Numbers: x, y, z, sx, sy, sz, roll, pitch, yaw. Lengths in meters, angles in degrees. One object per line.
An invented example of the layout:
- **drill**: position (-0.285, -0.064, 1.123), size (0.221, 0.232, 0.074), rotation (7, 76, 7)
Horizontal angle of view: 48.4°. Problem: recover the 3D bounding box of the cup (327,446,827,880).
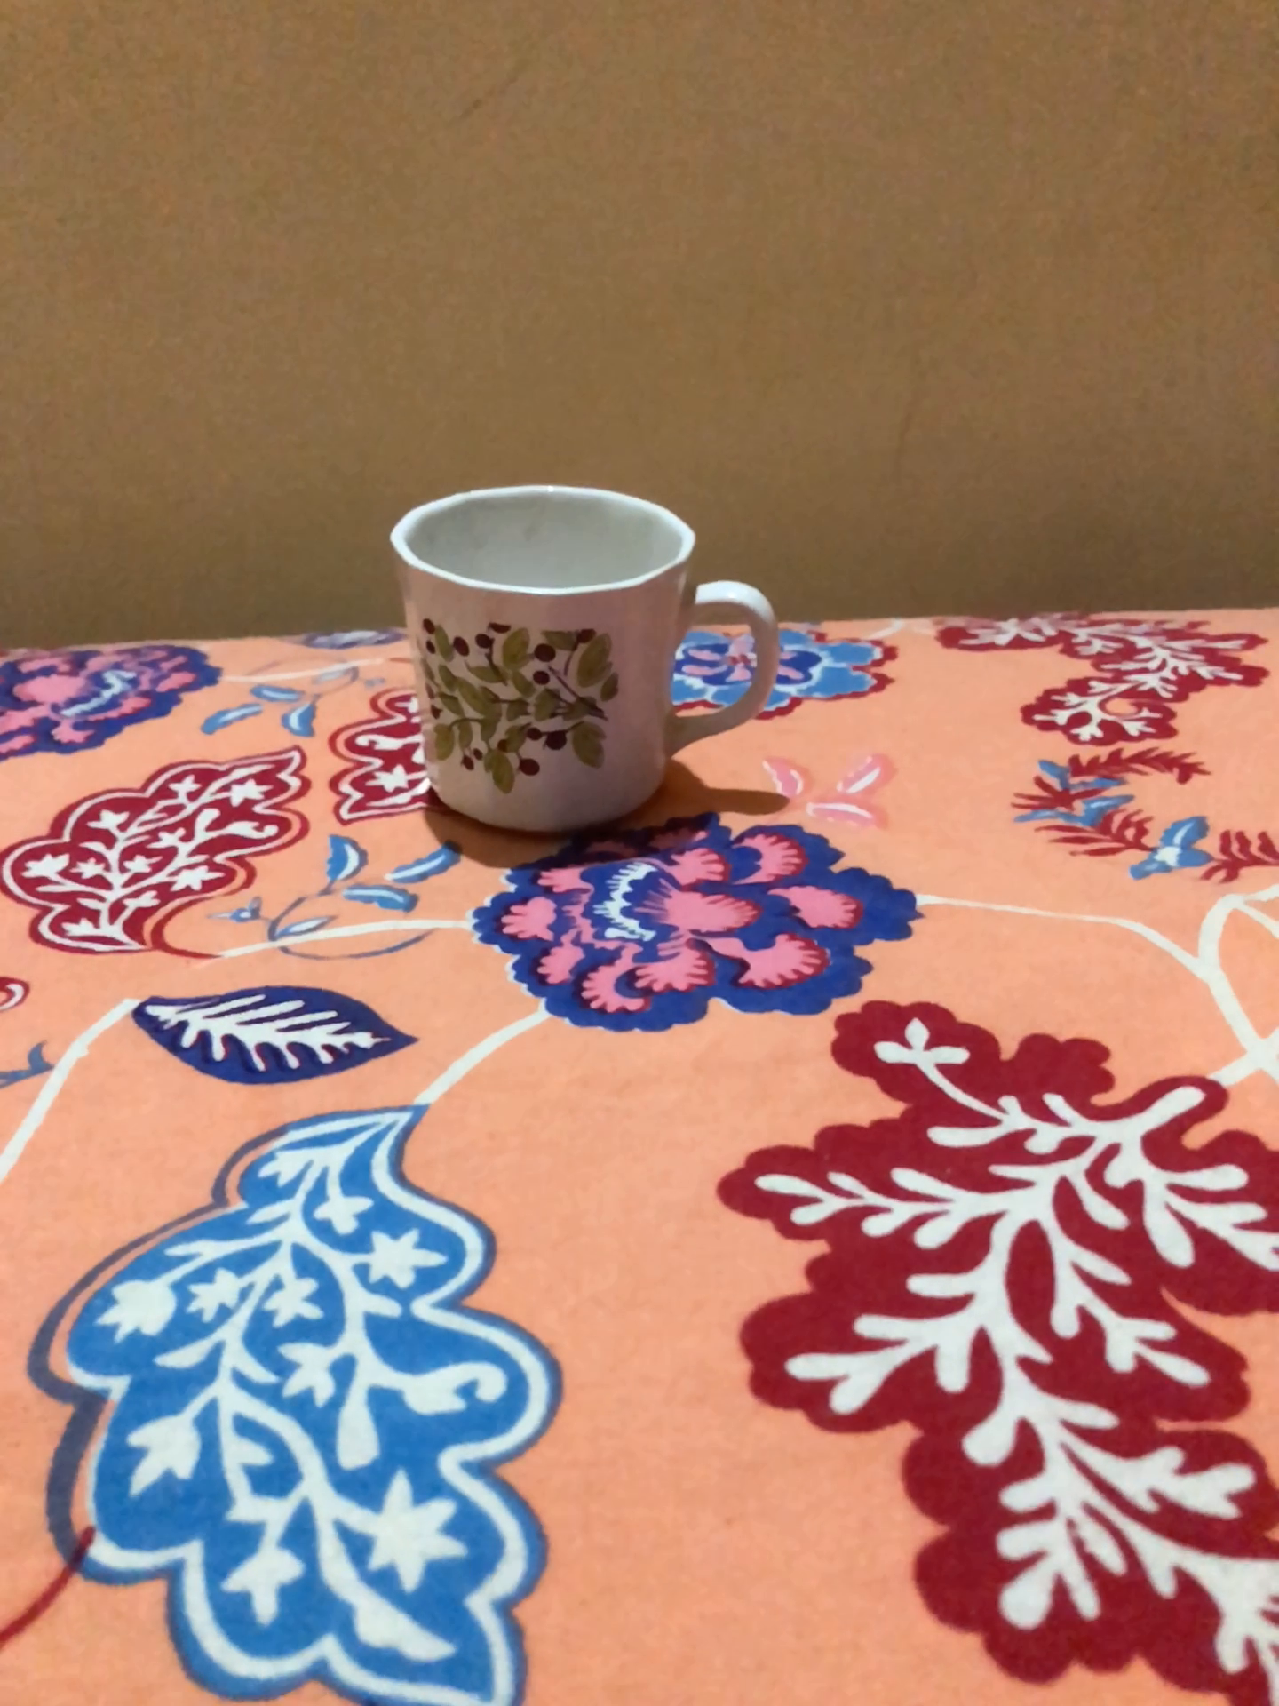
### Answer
- **cup**: position (-0.009, -0.044, 0.310), size (0.090, 0.070, 0.060), rotation (5, 33, 12)
